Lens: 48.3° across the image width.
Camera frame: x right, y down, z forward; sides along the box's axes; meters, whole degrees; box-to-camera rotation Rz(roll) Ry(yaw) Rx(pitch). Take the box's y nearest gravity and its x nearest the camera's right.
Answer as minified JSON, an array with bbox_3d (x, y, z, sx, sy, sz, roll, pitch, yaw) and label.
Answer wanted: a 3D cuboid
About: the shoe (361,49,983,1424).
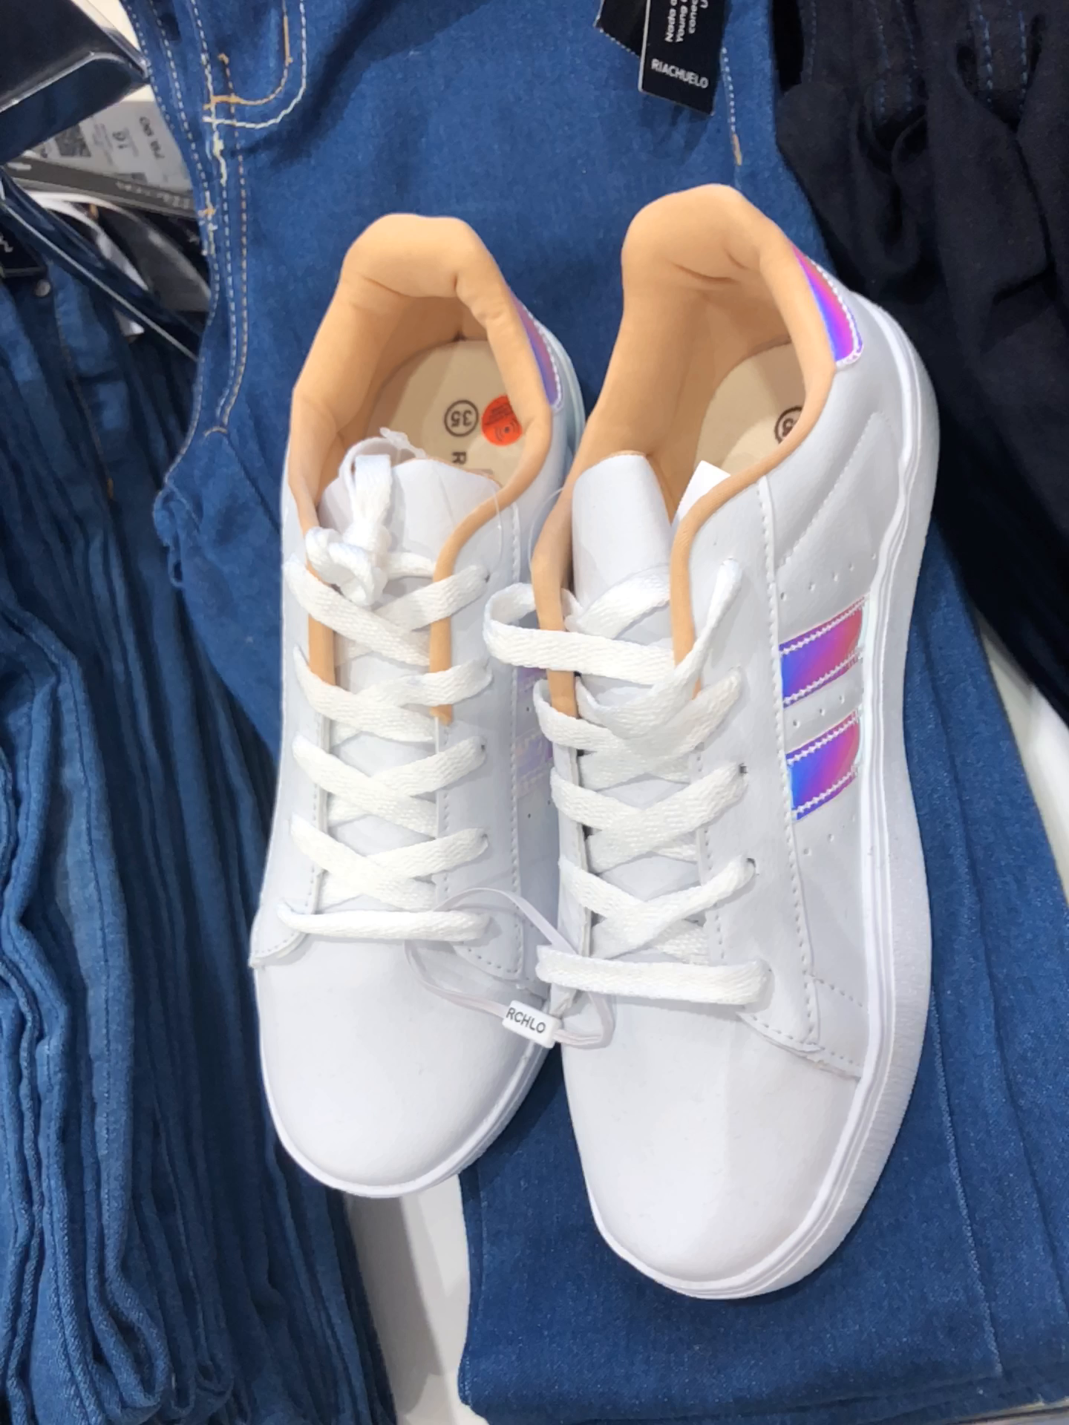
[{"bbox_3d":[0.045,0.004,0.286,0.090,0.110,0.260,-1,76,32],"label":"shoe"}]

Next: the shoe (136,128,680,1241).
[{"bbox_3d":[-0.020,-0.009,0.333,0.090,0.110,0.260,3,78,13],"label":"shoe"}]
